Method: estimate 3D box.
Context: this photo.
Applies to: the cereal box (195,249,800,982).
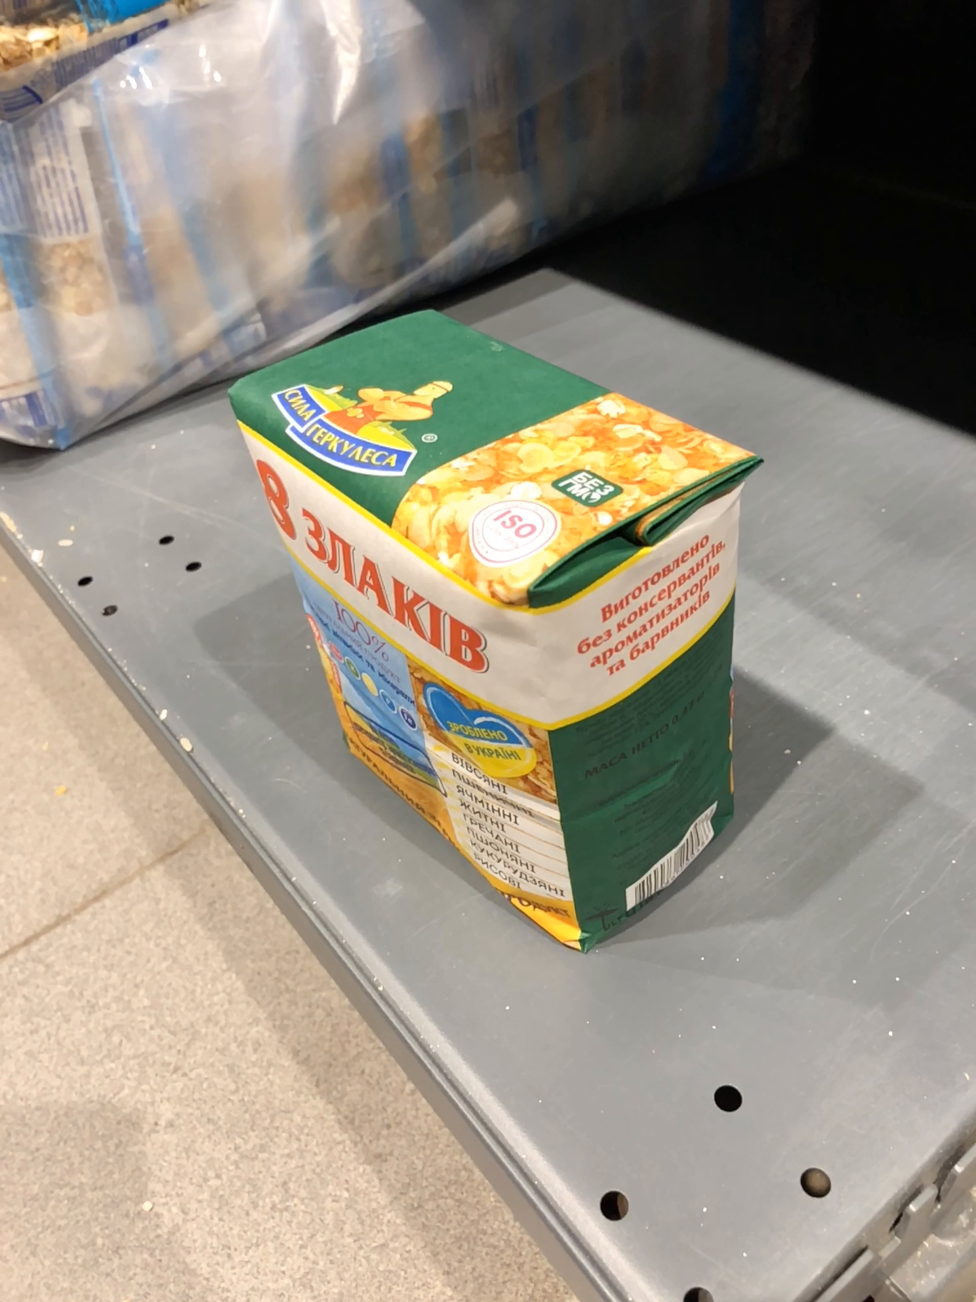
[{"bbox_3d":[0.002,-0.012,0.276,0.070,0.129,0.121,-32,47,-24],"label":"cereal box"}]
